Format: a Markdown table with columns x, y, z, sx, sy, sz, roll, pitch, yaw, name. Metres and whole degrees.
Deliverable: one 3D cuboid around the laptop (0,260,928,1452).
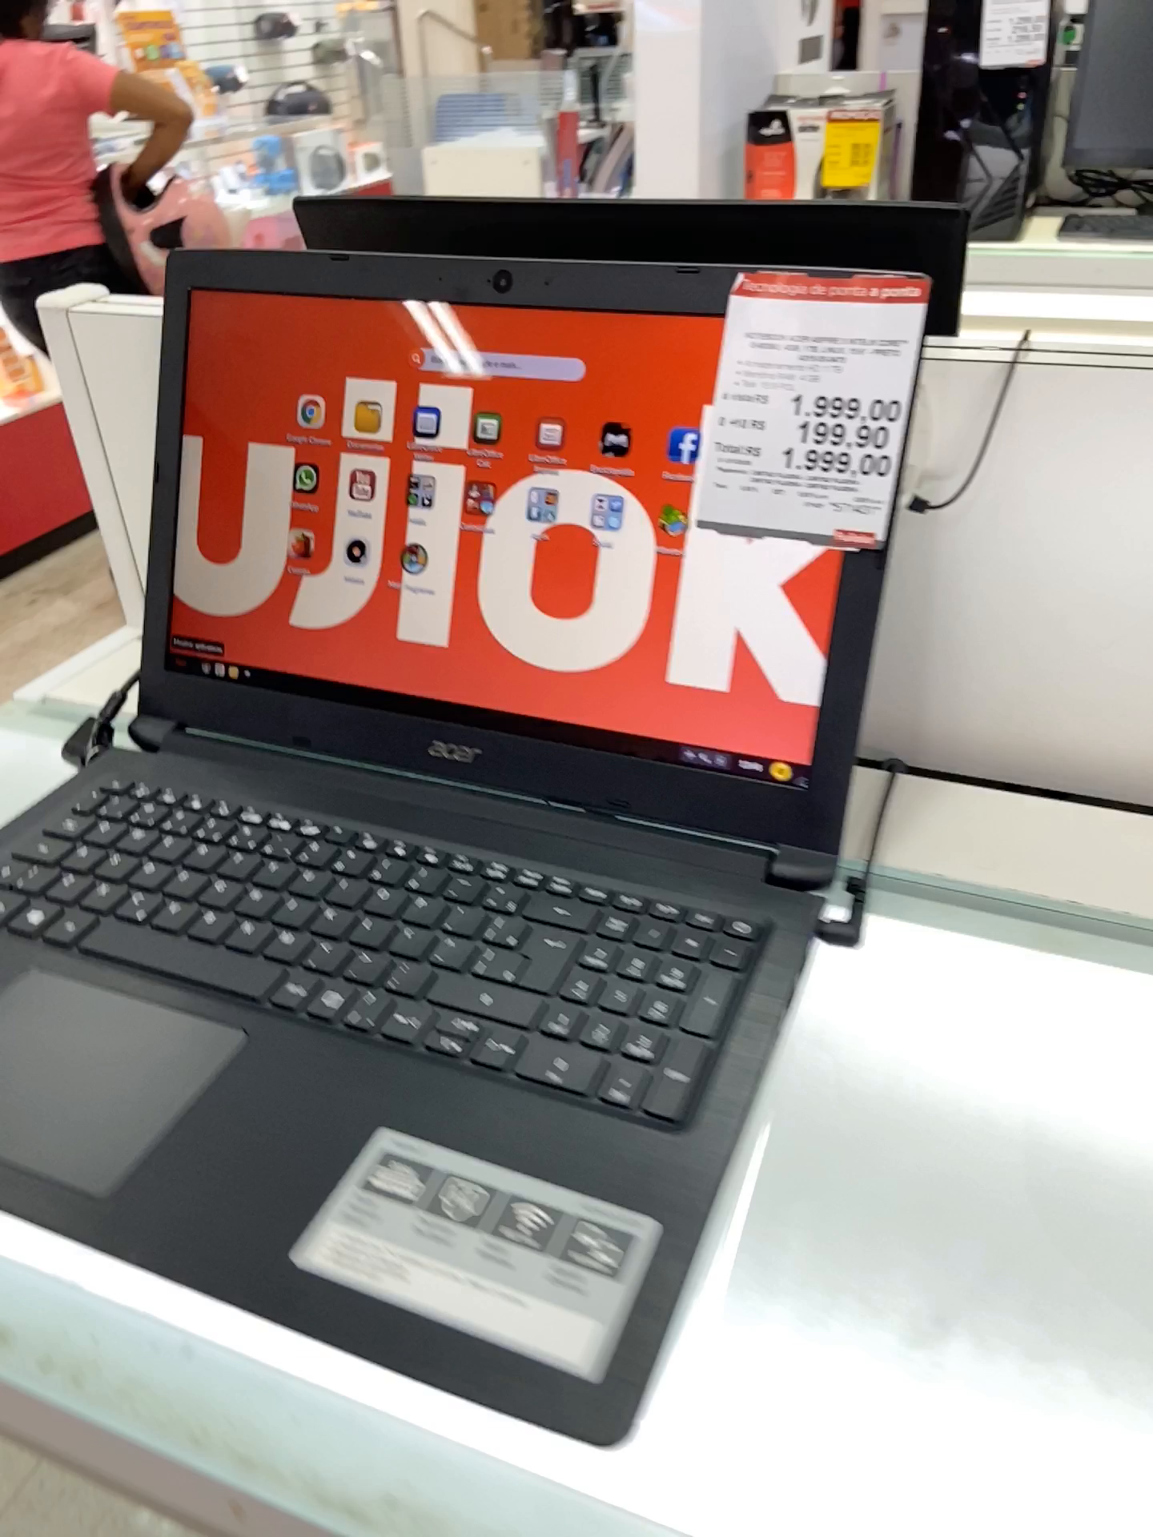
| x | y | z | sx | sy | sz | roll | pitch | yaw | name |
| --- | --- | --- | --- | --- | --- | --- | --- | --- | --- |
| -0.102 | -0.042 | 0.466 | 0.392 | 0.230 | 0.372 | 11 | 34 | 20 | laptop |
